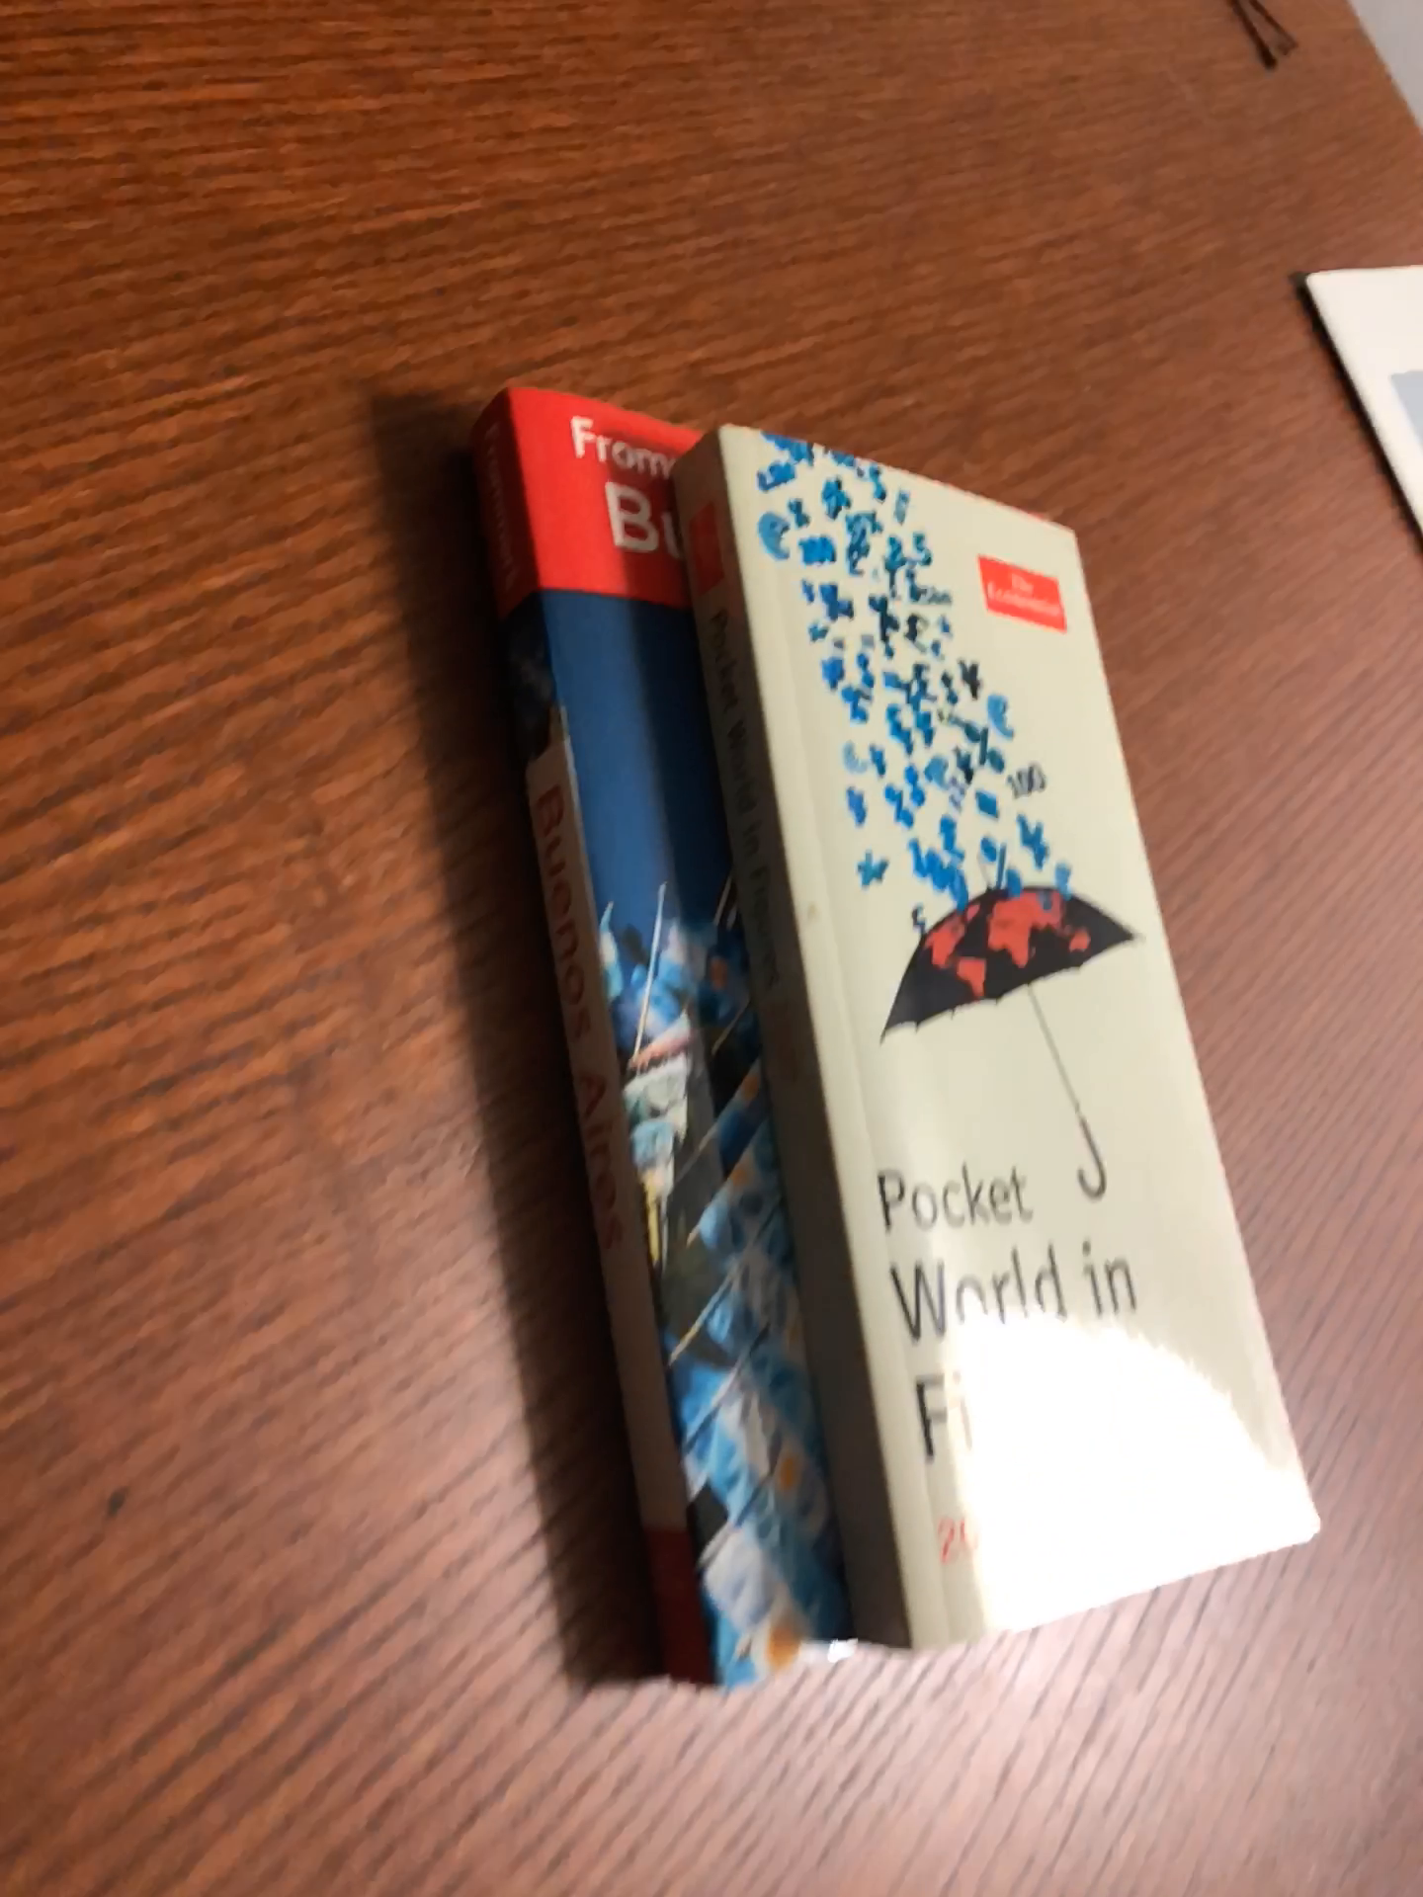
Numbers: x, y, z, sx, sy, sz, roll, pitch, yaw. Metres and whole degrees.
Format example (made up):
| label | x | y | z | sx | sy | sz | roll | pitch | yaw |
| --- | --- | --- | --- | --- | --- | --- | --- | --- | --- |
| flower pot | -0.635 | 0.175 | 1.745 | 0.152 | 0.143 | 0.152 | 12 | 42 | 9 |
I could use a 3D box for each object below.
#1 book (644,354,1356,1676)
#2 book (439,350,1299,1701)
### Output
| label | x | y | z | sx | sy | sz | roll | pitch | yaw |
| --- | --- | --- | --- | --- | --- | --- | --- | --- | --- |
| book | 0.048 | 0.004 | 0.269 | 0.100 | 0.020 | 0.200 | 3 | 71 | -37 |
| book | 0.032 | 0.004 | 0.288 | 0.140 | 0.020 | 0.210 | 0 | 73 | -38 |
